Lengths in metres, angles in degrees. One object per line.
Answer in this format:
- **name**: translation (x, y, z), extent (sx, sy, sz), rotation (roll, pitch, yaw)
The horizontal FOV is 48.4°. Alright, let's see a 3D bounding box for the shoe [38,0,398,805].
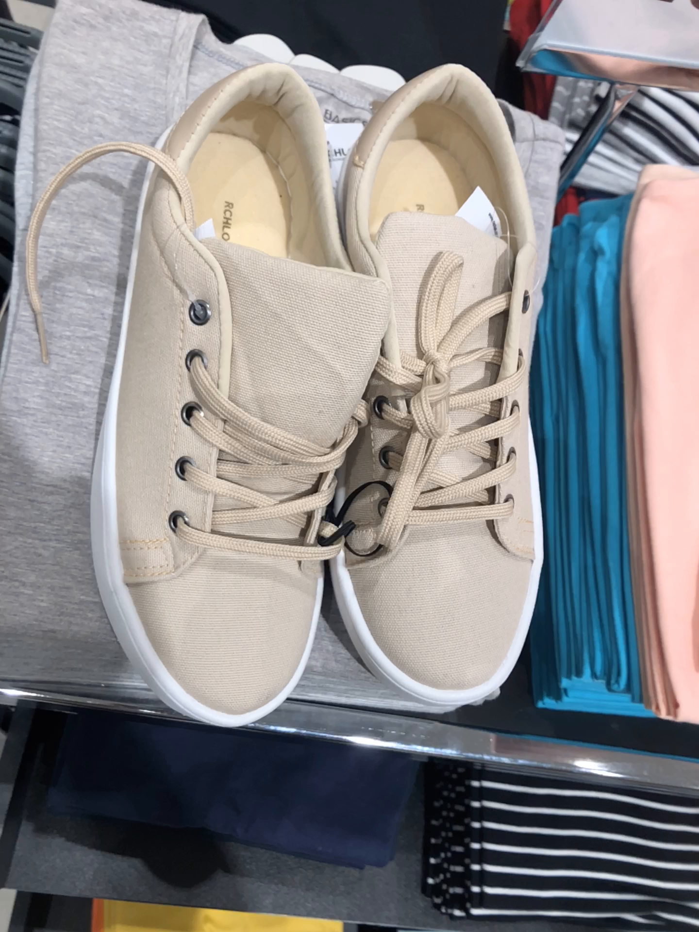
- **shoe**: translation (-0.051, -0.036, 0.298), extent (0.100, 0.110, 0.280), rotation (5, 78, -23)

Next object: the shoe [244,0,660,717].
- **shoe**: translation (0.020, -0.052, 0.332), extent (0.110, 0.110, 0.291), rotation (1, 68, -14)
